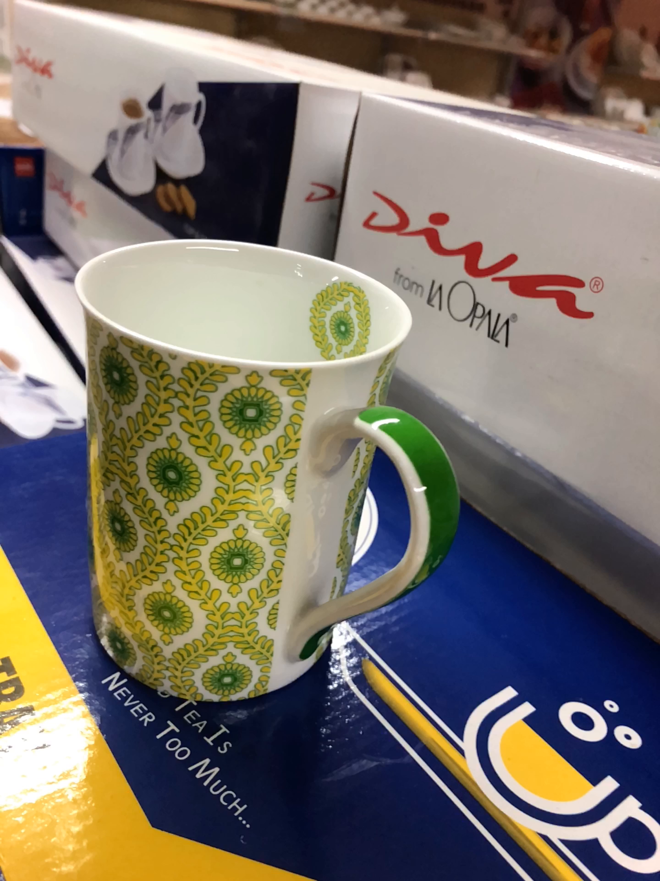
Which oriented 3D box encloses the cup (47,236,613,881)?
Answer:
[{"bbox_3d":[-0.012,0.014,0.170,0.070,0.089,0.100,-11,35,-33],"label":"cup"}]
